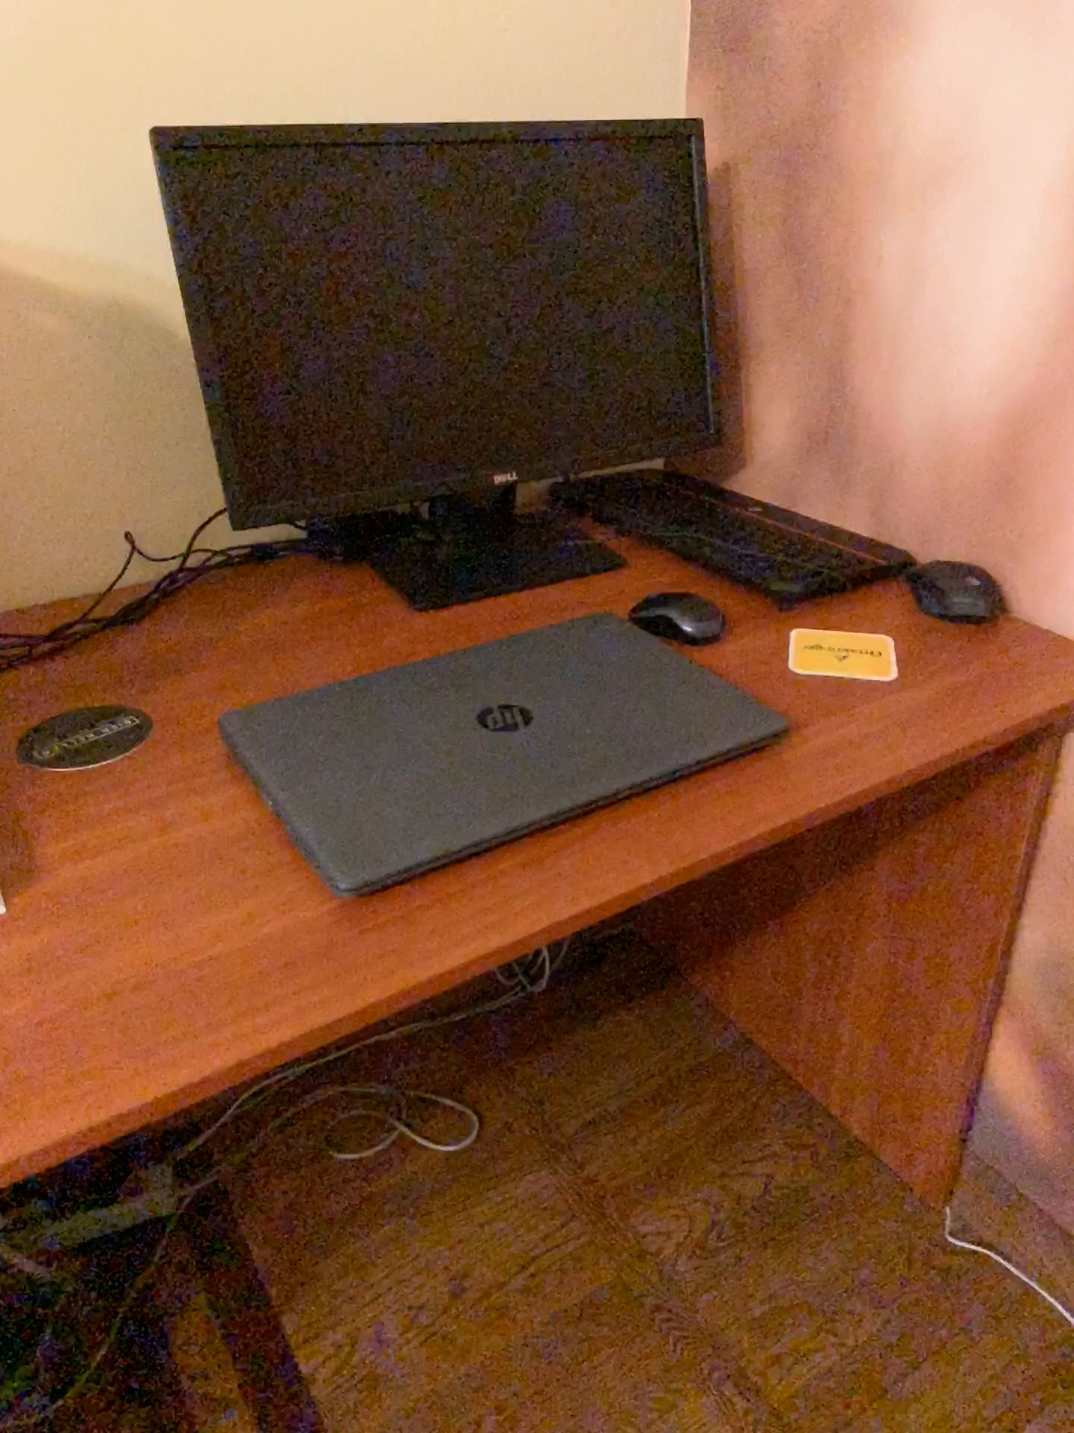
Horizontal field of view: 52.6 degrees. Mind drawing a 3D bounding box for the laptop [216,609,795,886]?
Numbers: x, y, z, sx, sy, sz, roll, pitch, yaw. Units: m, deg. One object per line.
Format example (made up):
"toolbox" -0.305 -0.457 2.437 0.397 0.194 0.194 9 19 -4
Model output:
"laptop" -0.027 0.002 0.842 0.369 0.005 0.248 -17 34 -27
